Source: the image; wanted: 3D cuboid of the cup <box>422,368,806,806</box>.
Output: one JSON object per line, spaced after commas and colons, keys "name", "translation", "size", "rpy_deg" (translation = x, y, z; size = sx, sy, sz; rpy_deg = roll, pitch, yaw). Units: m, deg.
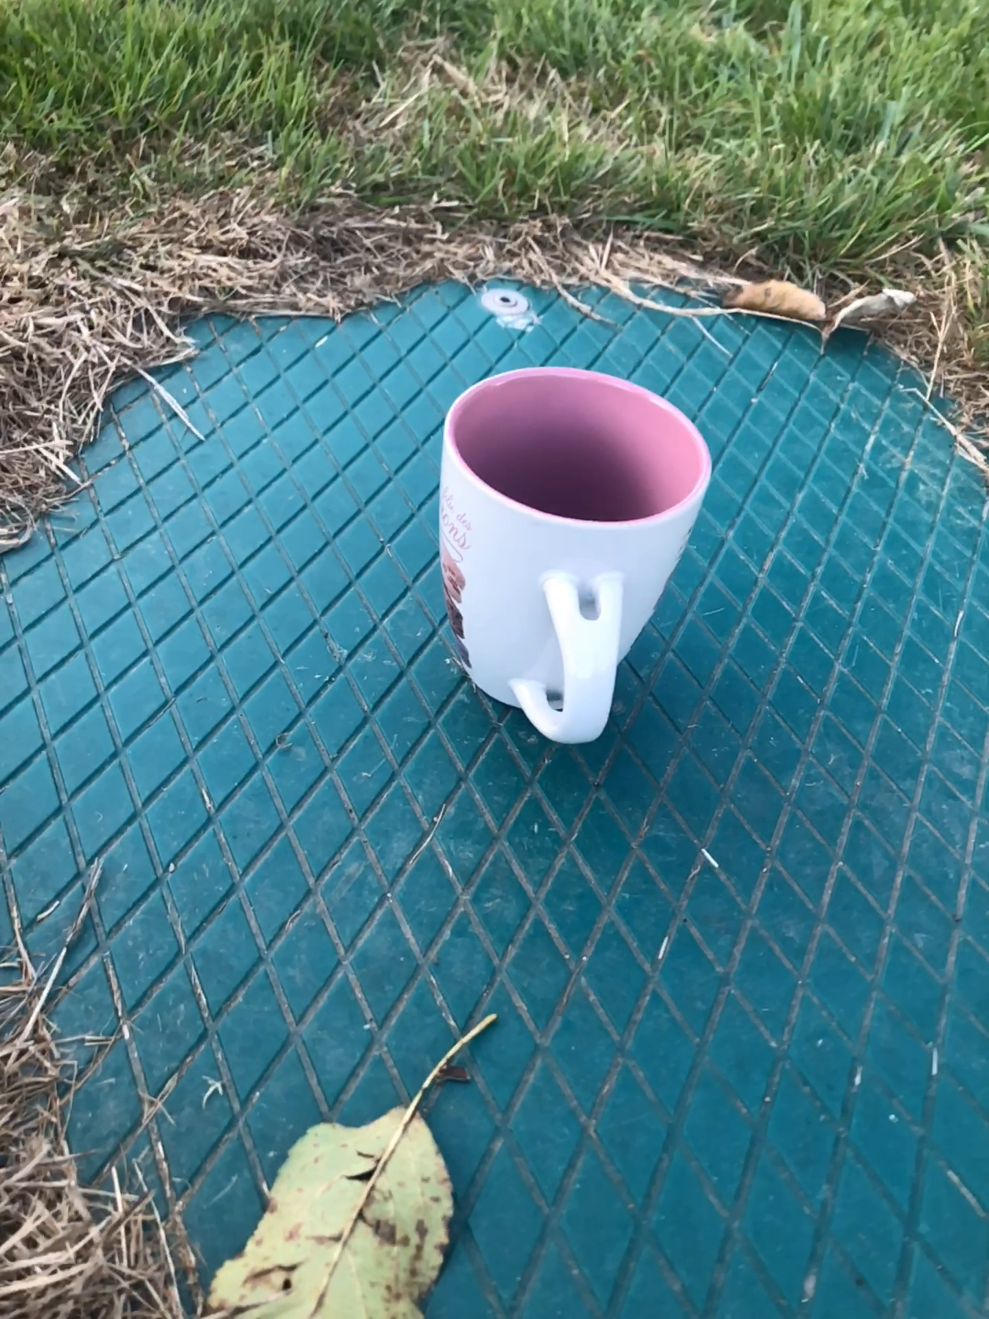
{"name": "cup", "translation": [0.030, -0.027, 0.377], "size": [0.095, 0.091, 0.121], "rpy_deg": [0, 44, -10]}
